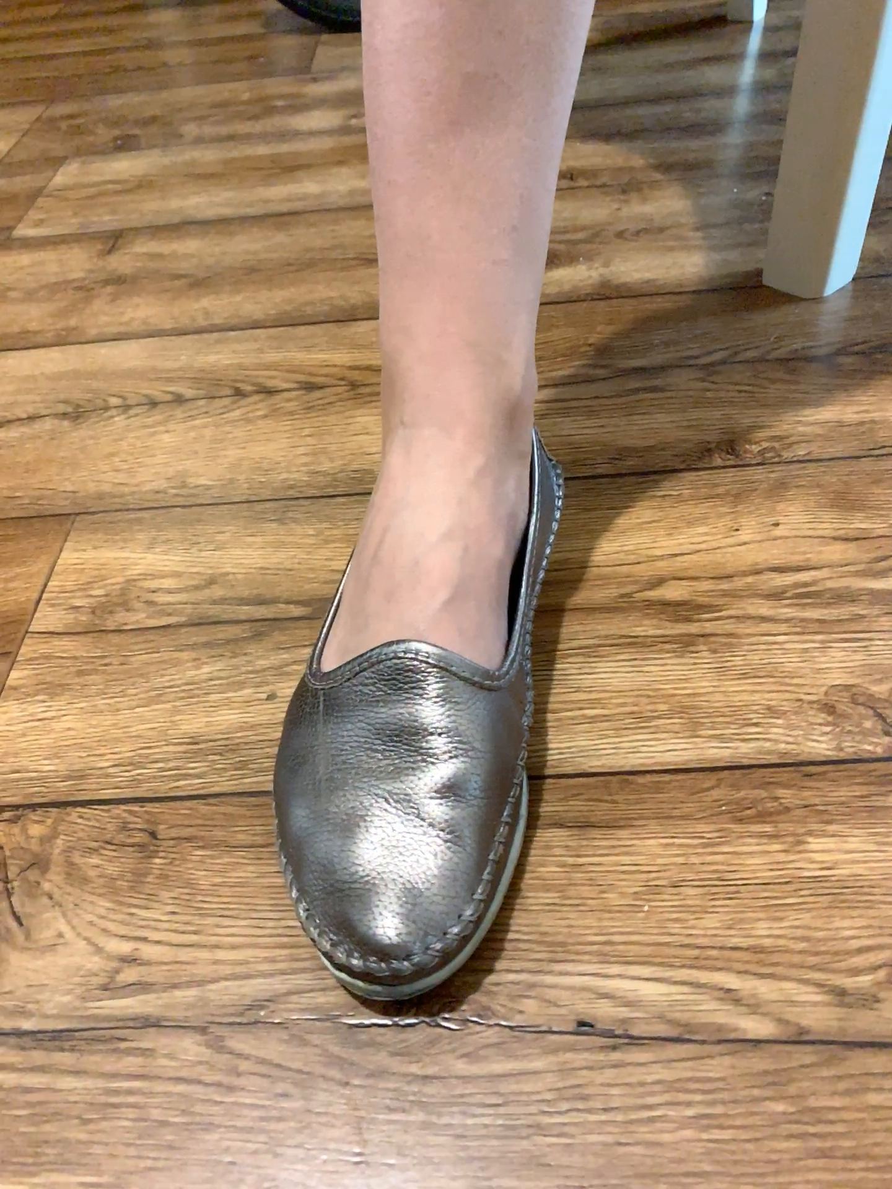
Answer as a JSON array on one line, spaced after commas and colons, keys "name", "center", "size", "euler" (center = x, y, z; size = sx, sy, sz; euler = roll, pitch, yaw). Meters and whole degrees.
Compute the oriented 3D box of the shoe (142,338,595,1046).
[{"name": "shoe", "center": [-0.007, 0.016, 0.317], "size": [0.095, 0.070, 0.231], "euler": [4, 55, 12]}]
